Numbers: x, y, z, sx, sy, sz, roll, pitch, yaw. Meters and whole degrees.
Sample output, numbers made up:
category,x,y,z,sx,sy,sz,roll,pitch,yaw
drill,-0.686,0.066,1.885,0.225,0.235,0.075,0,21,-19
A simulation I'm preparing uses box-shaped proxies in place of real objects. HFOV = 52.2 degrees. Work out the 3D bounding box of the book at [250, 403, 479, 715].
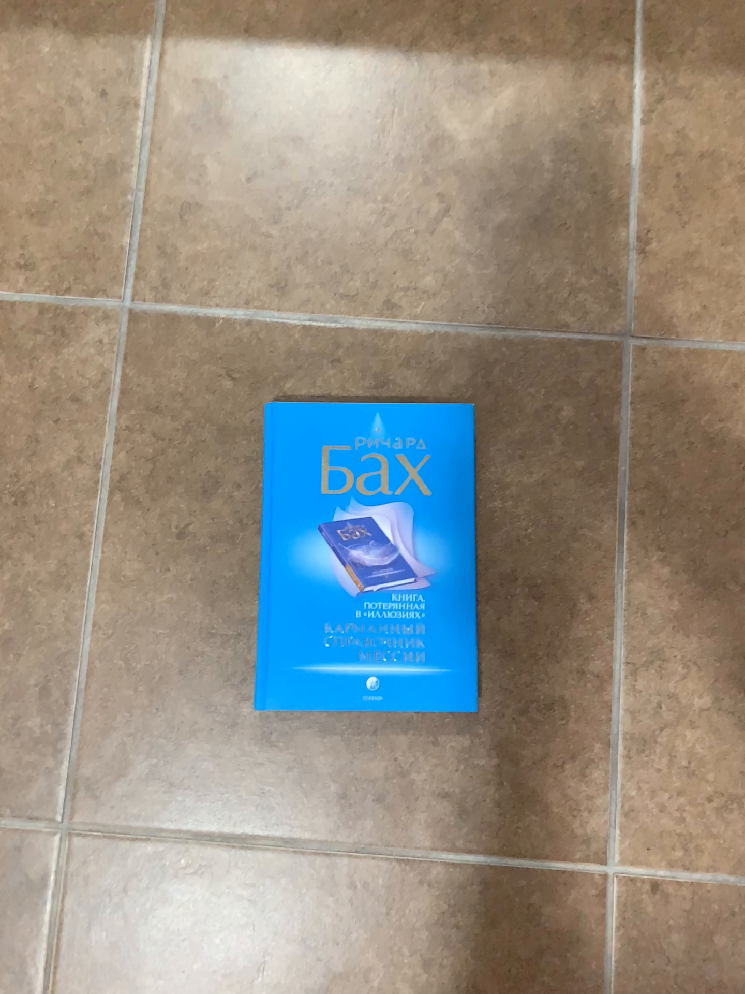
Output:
category,x,y,z,sx,sy,sz,roll,pitch,yaw
book,-0.003,0.032,0.424,0.122,0.015,0.169,1,83,1
